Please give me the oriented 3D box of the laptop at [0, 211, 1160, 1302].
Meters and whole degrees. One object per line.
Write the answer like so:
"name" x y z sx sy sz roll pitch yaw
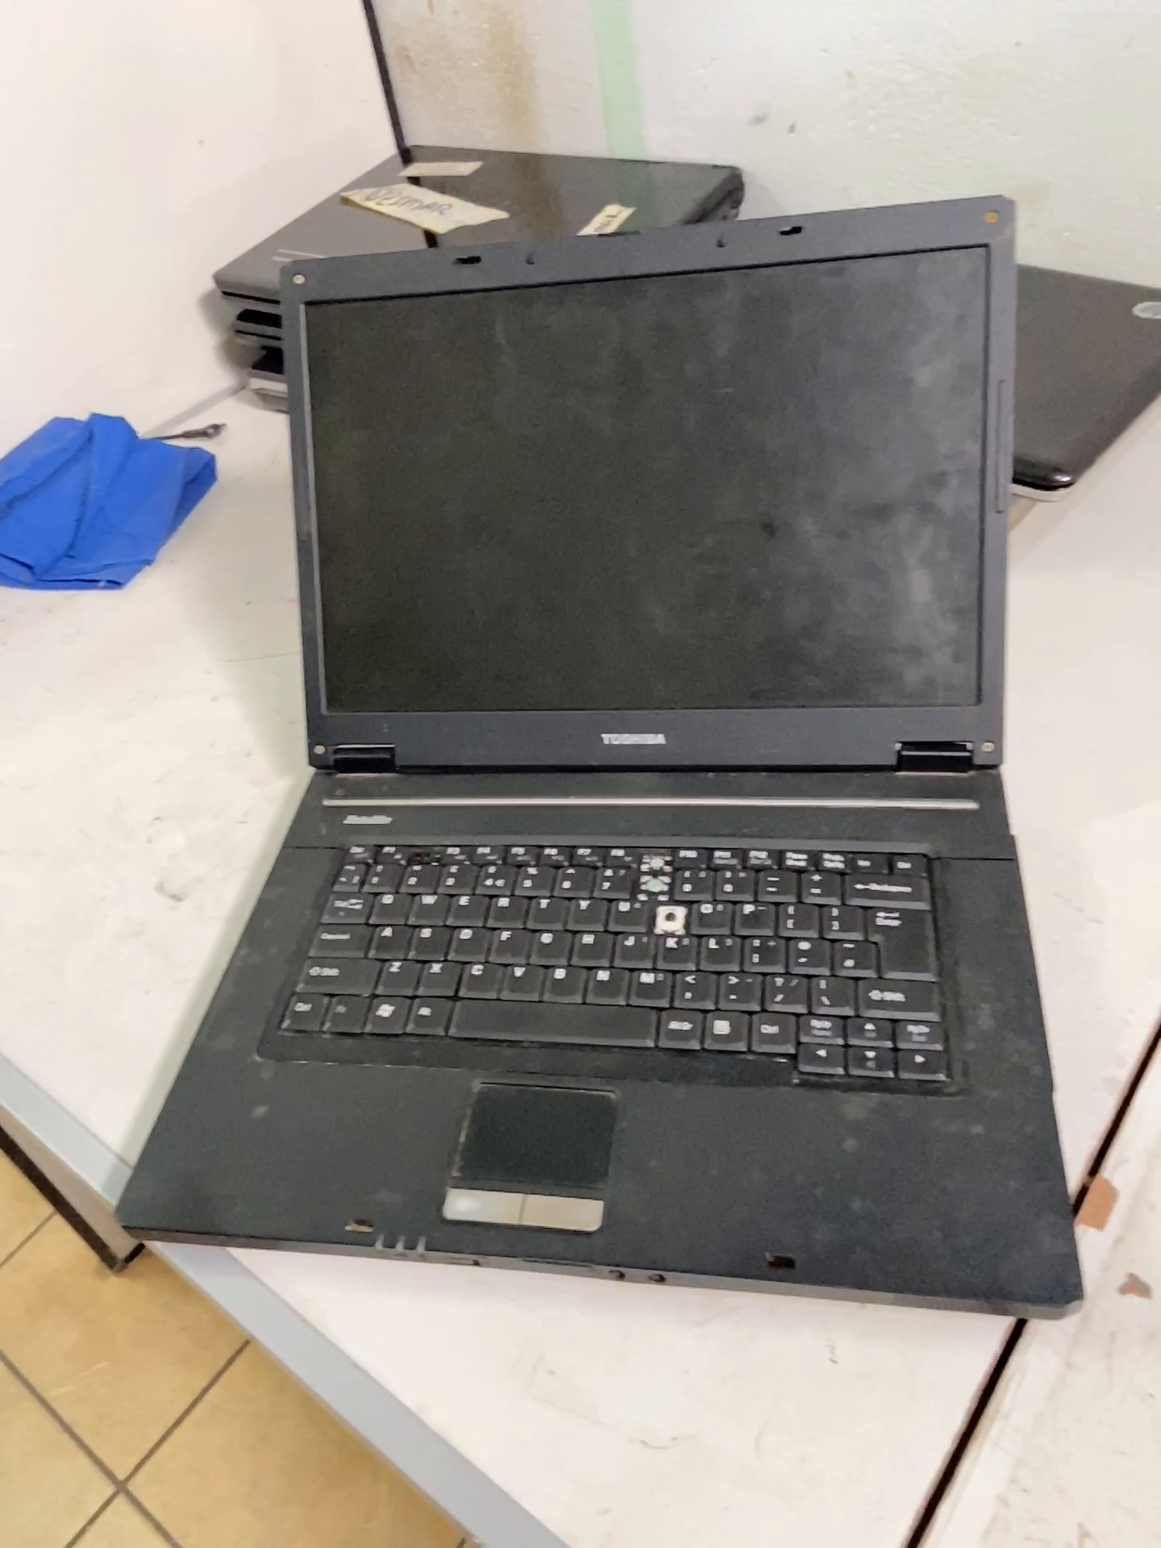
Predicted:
"laptop" 0.010 -0.039 0.507 0.356 0.212 0.404 0 43 13
